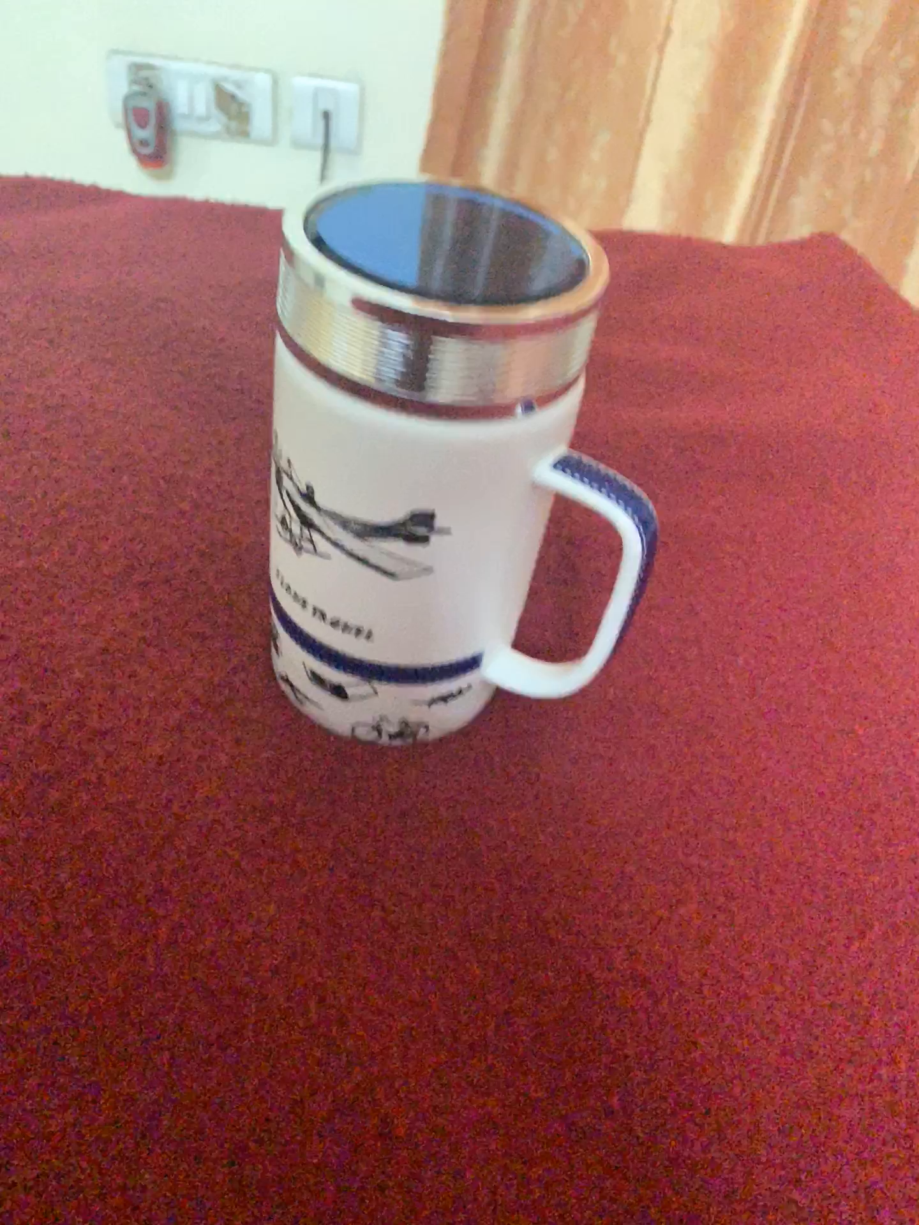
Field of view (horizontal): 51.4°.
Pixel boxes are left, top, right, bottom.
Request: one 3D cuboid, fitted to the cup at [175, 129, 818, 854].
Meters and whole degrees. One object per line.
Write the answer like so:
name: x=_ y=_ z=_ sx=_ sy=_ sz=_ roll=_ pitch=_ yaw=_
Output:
cup: x=0.002 y=-0.035 z=0.267 sx=0.120 sy=0.139 sz=0.091 roll=30 pitch=46 yaw=20
